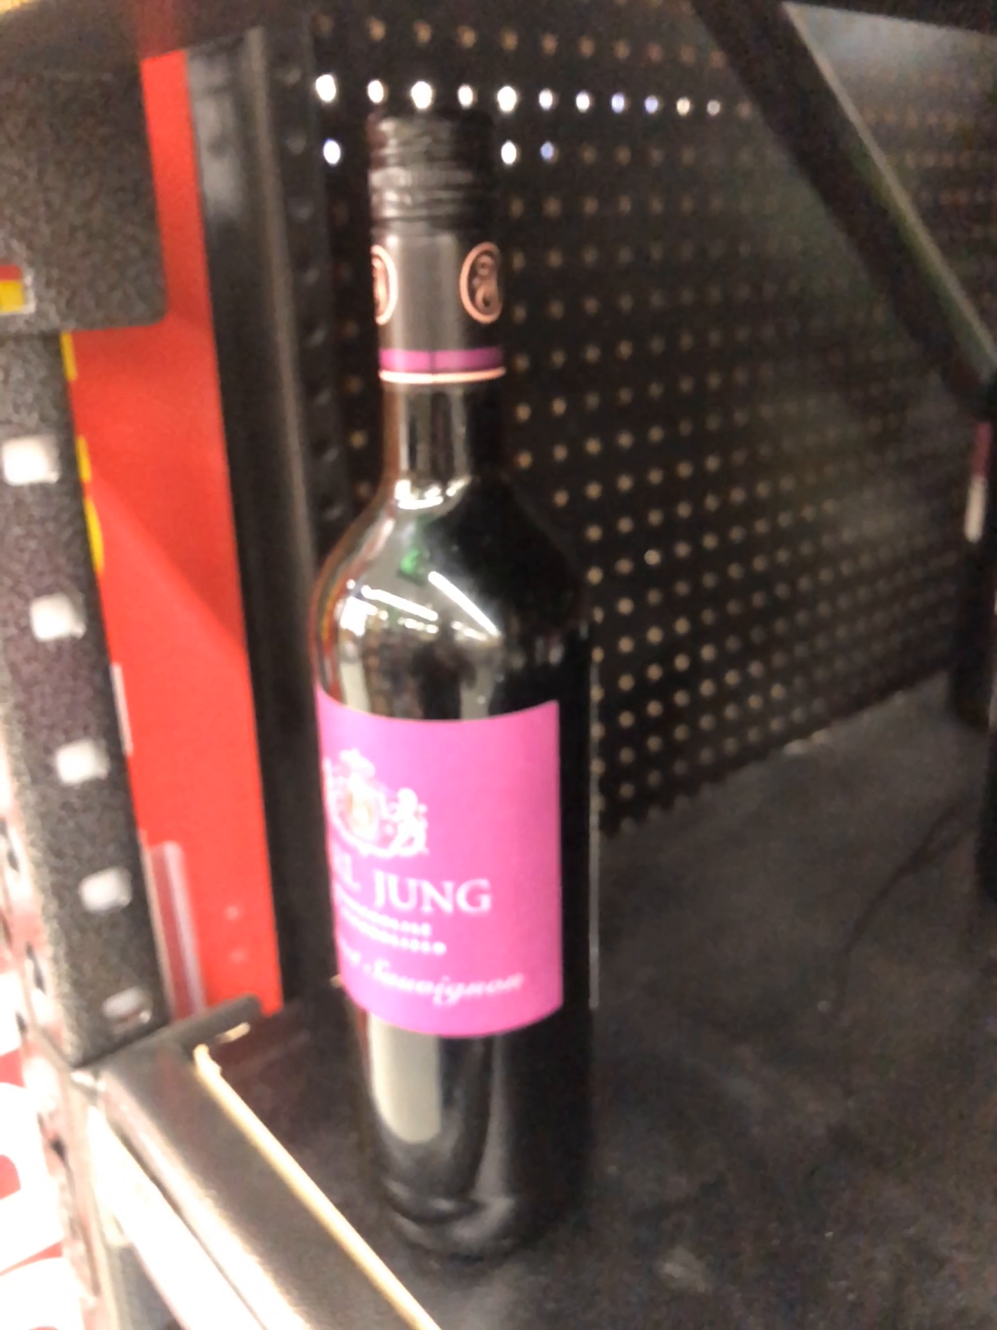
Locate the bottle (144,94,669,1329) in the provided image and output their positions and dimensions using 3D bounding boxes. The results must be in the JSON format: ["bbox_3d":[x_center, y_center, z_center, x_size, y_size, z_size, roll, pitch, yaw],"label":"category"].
[{"bbox_3d":[-0.013,0.018,0.294,0.080,0.288,0.080,-2,21,1],"label":"bottle"}]
